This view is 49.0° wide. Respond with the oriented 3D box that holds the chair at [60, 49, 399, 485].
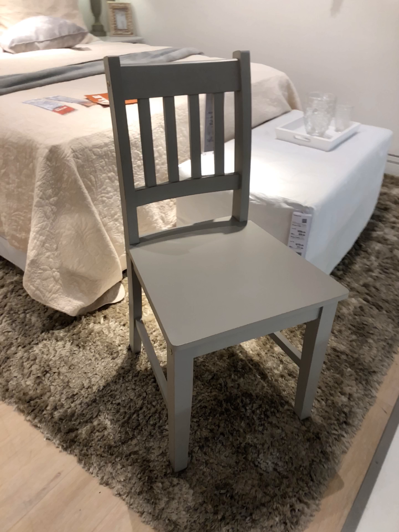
[{"bbox_3d":[0.014,-0.030,1.072,0.481,0.823,0.533,-14,37,-23],"label":"chair"}]
